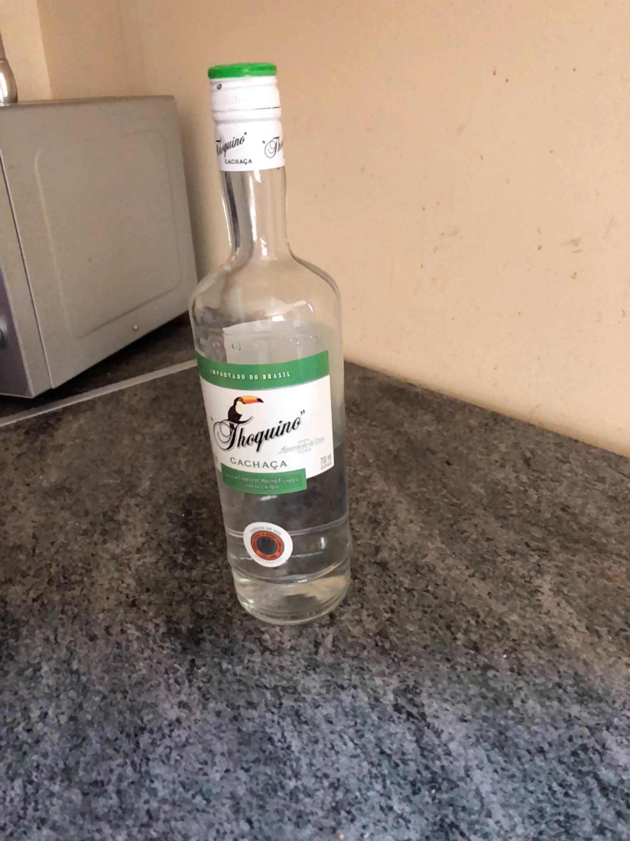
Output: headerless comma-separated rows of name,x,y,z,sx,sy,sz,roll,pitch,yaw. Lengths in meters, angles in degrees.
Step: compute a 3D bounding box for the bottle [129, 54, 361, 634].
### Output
bottle,-0.023,-0.031,0.366,0.080,0.279,0.080,-2,23,1
